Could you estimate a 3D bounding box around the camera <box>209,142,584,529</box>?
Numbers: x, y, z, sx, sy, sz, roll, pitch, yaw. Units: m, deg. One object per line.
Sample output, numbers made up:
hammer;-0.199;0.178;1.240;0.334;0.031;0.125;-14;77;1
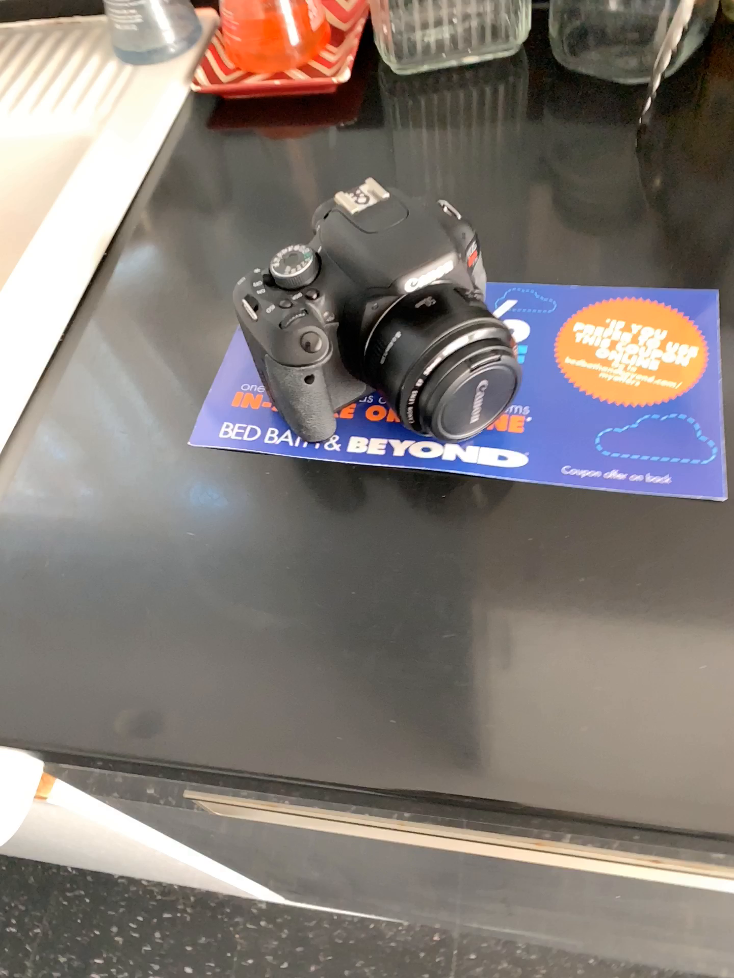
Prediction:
camera;0.014;-0.077;0.372;0.122;0.098;0.118;-29;56;-11
